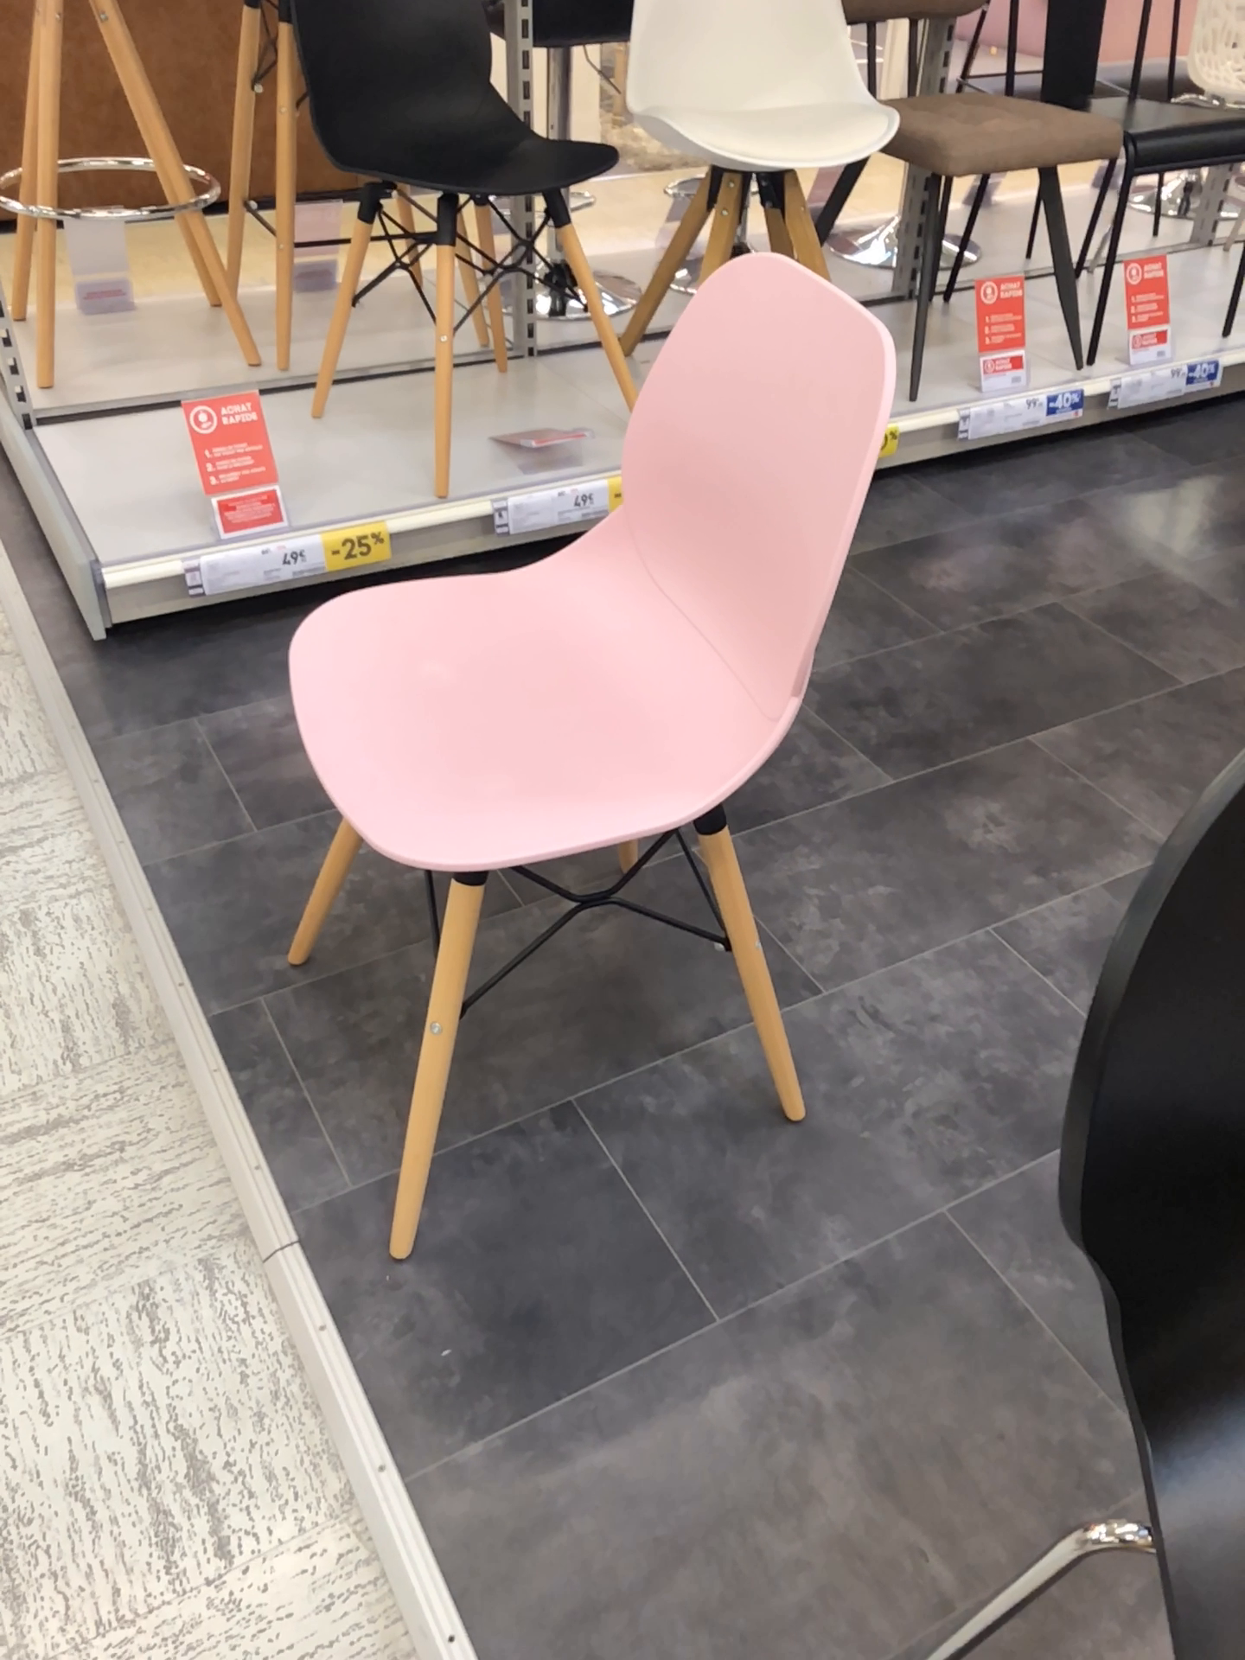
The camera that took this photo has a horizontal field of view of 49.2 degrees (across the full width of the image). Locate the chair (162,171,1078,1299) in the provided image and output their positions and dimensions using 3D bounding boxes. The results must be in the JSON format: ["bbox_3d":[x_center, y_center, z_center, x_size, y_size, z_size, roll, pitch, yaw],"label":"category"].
[{"bbox_3d":[-0.052,-0.106,1.331,0.551,0.846,0.553,-13,41,-20],"label":"chair"}]
